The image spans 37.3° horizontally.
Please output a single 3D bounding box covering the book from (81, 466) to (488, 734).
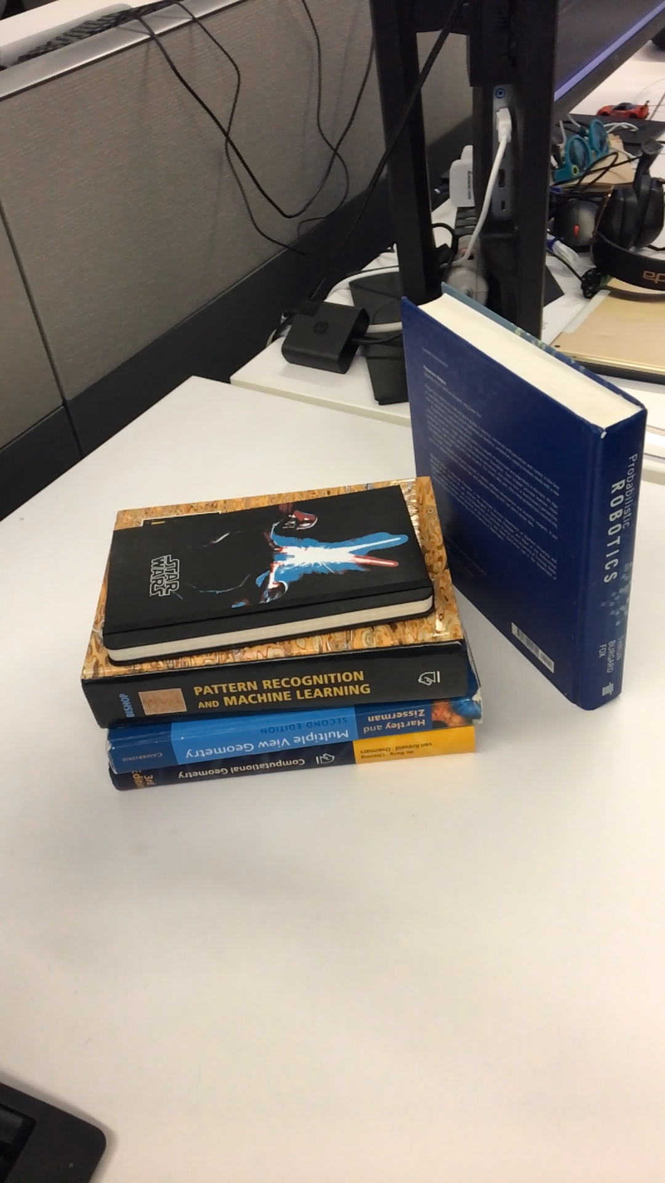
[{"bbox_3d":[-0.030,-0.001,0.662,0.240,0.050,0.180,-6,41,2],"label":"book"}]

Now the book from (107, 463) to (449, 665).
[{"bbox_3d":[-0.039,-0.022,0.626,0.200,0.020,0.130,-9,41,-2],"label":"book"}]

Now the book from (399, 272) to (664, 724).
[{"bbox_3d":[0.125,-0.064,0.667,0.050,0.230,0.210,-22,43,-17],"label":"book"}]

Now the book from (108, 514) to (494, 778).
[{"bbox_3d":[-0.026,0.029,0.688,0.240,0.030,0.190,-8,41,0],"label":"book"}]

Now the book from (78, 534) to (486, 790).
[{"bbox_3d":[-0.036,0.043,0.705,0.260,0.030,0.190,-6,41,1],"label":"book"}]
